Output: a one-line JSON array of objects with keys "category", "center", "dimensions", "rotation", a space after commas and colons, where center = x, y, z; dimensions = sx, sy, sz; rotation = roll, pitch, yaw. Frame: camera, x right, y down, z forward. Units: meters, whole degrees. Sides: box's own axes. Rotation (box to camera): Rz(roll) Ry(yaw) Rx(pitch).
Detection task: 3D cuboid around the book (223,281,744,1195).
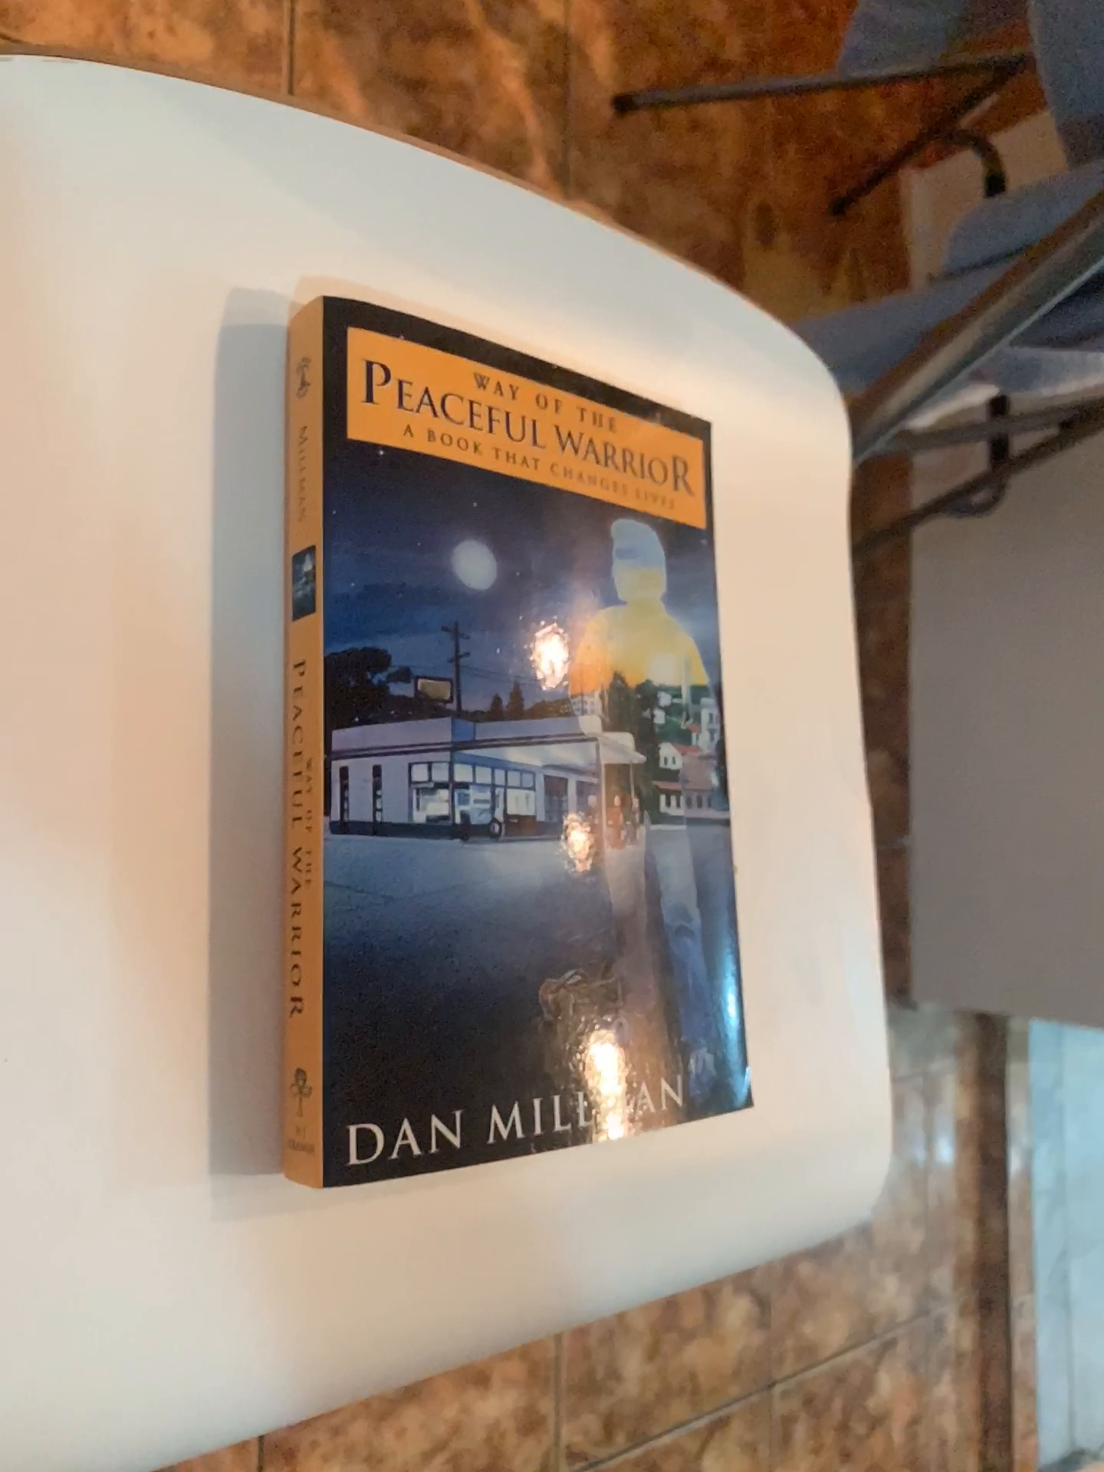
[{"category": "book", "center": [-0.011, 0.003, 0.320], "dimensions": [0.141, 0.039, 0.210], "rotation": [5, 84, -37]}]
